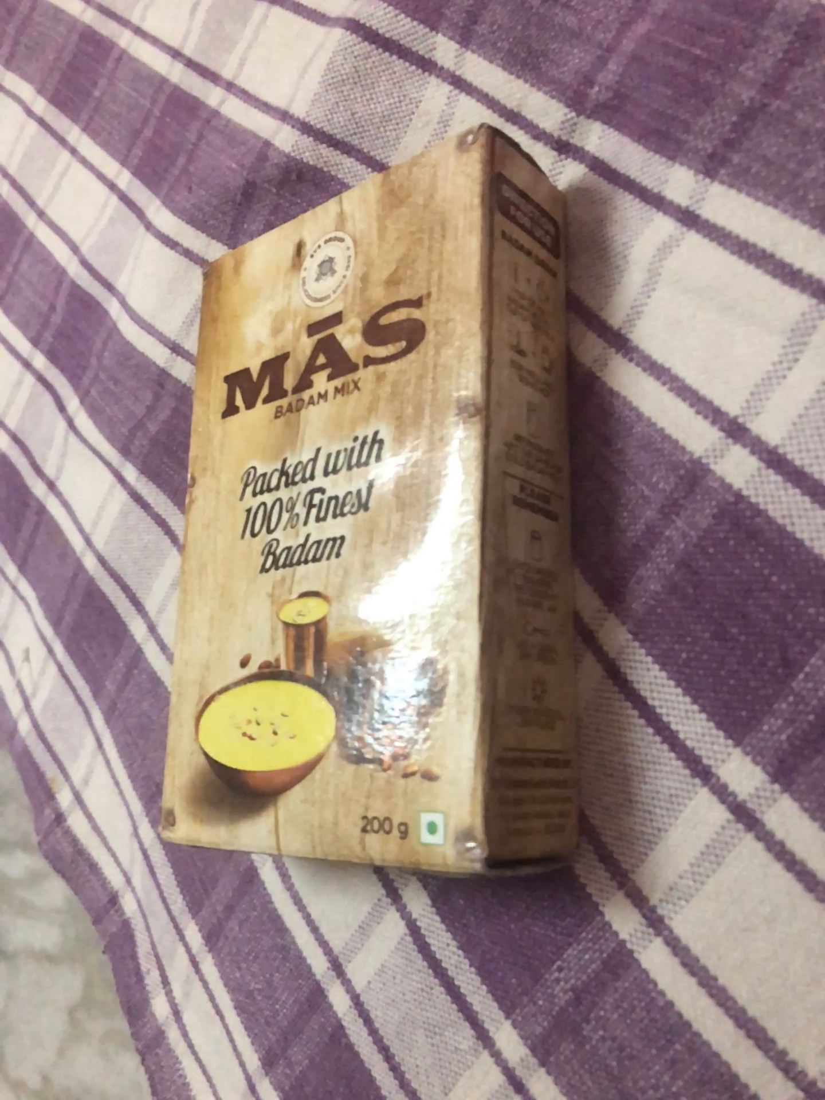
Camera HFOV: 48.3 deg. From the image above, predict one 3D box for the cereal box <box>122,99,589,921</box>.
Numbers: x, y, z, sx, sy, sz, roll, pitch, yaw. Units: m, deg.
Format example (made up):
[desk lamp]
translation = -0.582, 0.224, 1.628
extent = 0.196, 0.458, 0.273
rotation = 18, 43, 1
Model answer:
[cereal box]
translation = -0.014, -0.004, 0.181
extent = 0.090, 0.030, 0.130
rotation = -8, 75, 40
